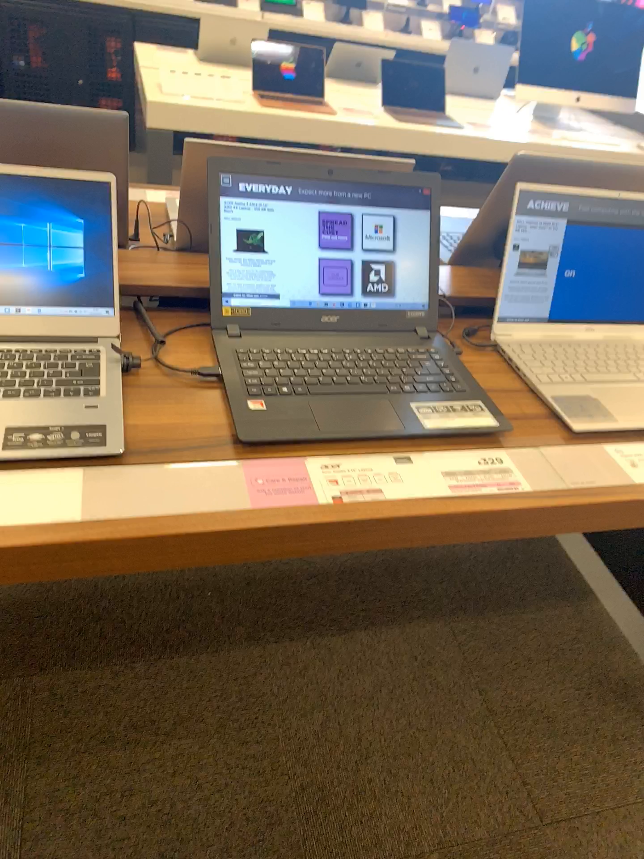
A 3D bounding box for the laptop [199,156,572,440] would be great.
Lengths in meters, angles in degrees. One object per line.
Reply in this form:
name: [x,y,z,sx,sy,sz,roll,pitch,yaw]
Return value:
laptop: [0.038,-0.176,0.820,0.325,0.193,0.357,-2,37,-17]
